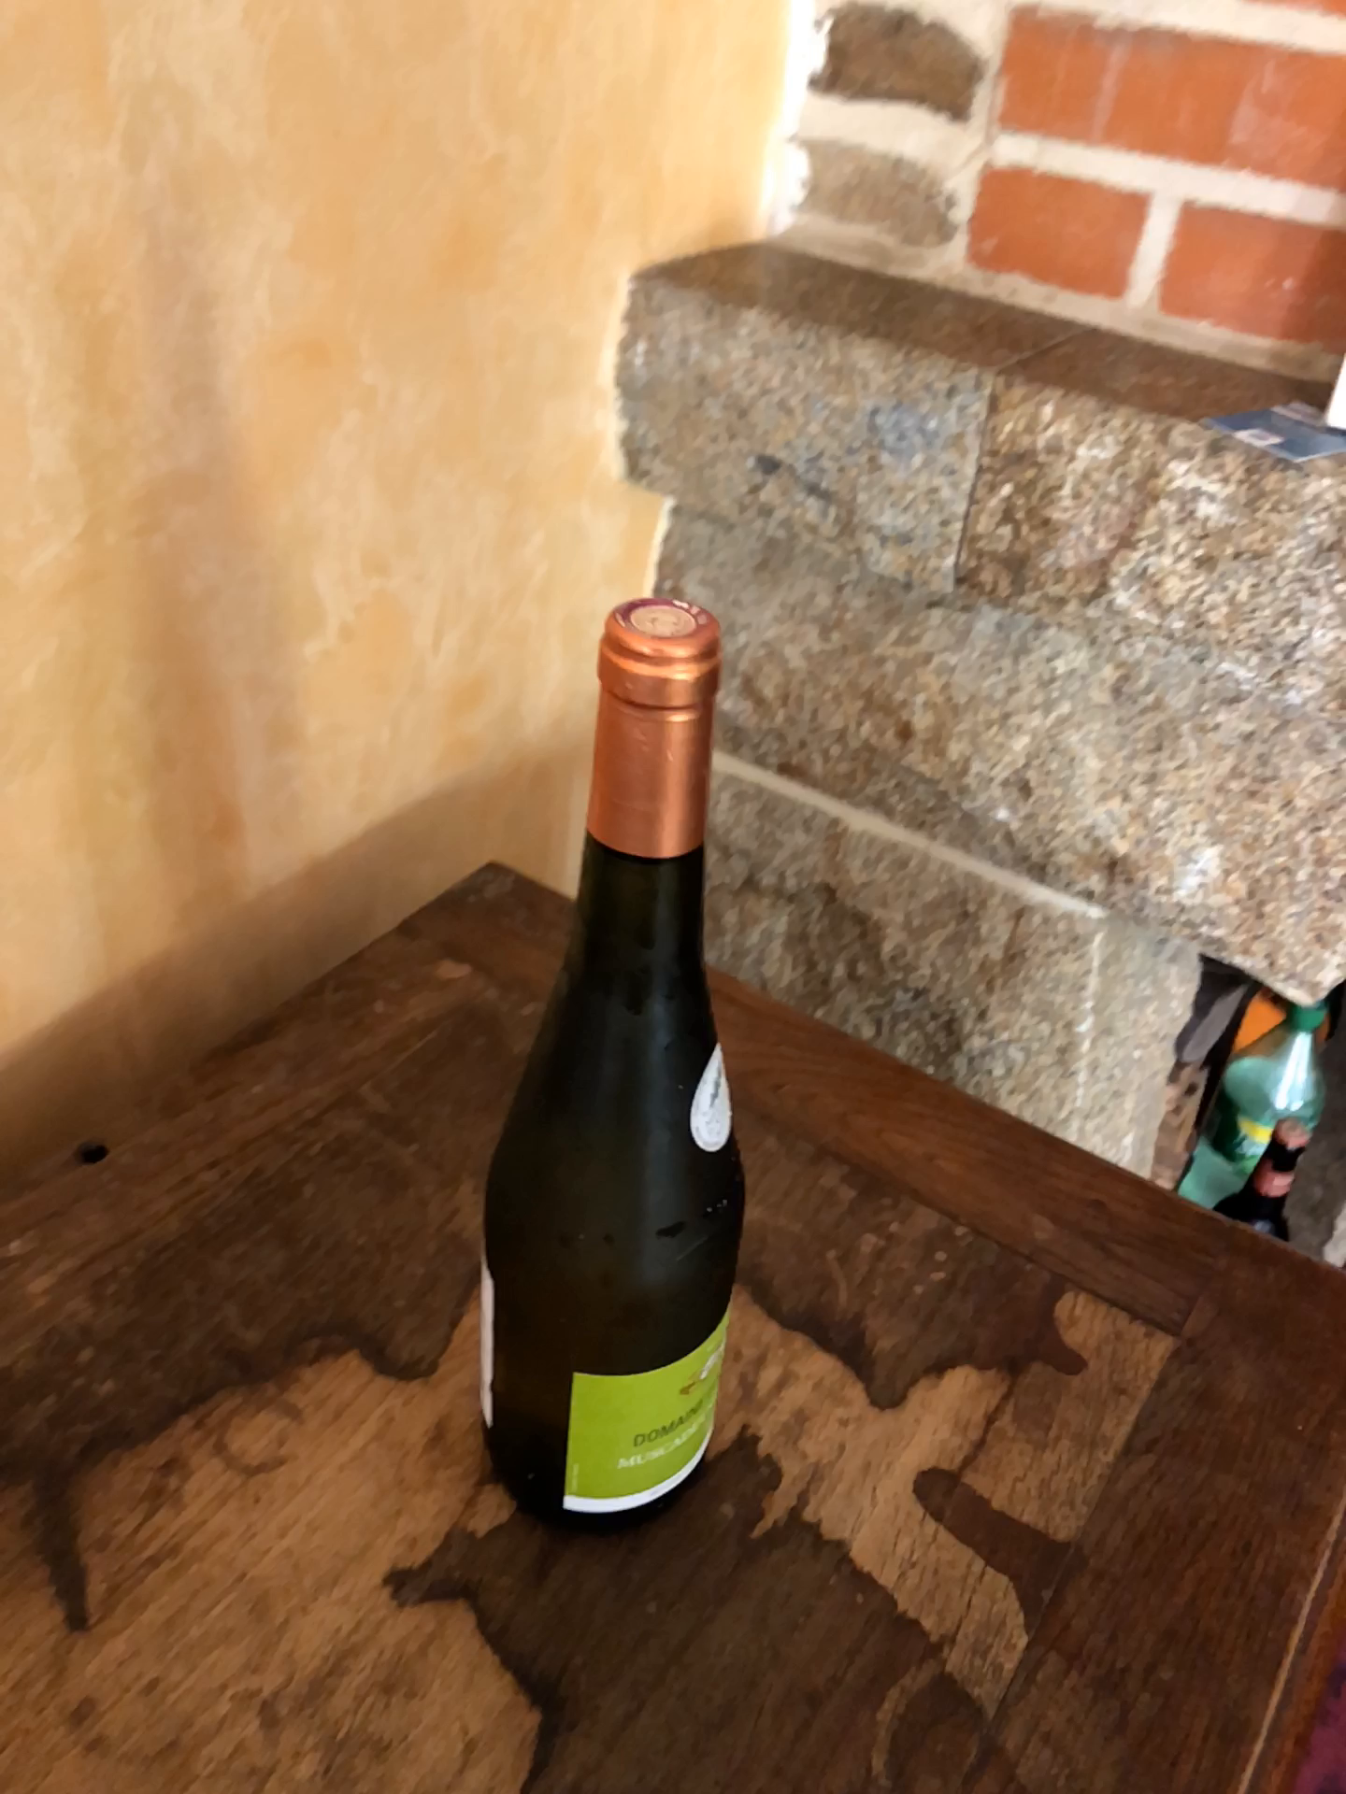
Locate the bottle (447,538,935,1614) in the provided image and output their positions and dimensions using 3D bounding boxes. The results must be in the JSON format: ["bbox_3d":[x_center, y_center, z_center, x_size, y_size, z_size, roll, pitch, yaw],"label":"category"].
[{"bbox_3d":[-0.005,0.067,0.430,0.080,0.308,0.091,20,37,19],"label":"bottle"}]
